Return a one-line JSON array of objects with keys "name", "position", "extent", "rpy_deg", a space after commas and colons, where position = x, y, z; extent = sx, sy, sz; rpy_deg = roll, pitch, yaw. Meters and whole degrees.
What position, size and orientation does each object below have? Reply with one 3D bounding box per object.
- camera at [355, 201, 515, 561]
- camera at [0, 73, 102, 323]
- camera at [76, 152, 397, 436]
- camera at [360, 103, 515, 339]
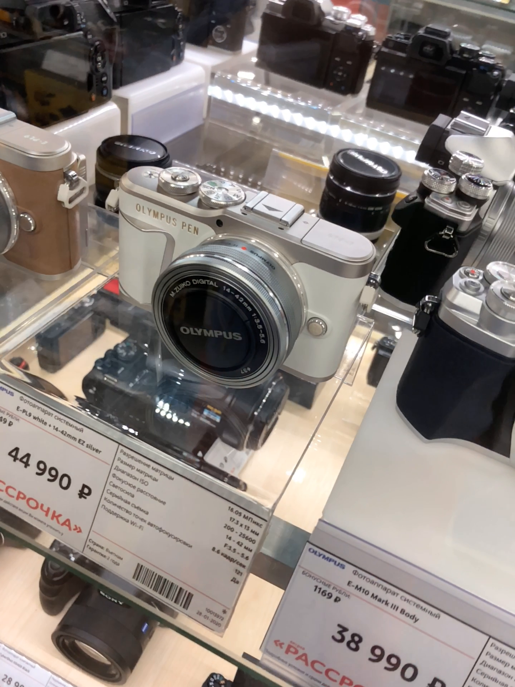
[{"name": "camera", "position": [0.104, 0.010, 0.200], "extent": [0.114, 0.072, 0.053], "rpy_deg": [22, 41, 12]}, {"name": "camera", "position": [-0.128, -0.069, 0.262], "extent": [0.087, 0.072, 0.061], "rpy_deg": [21, 41, 12]}, {"name": "camera", "position": [-0.011, -0.024, 0.245], "extent": [0.114, 0.070, 0.053], "rpy_deg": [22, 41, 12]}, {"name": "camera", "position": [0.116, -0.074, 0.318], "extent": [0.072, 0.072, 0.115], "rpy_deg": [22, 41, 13]}]
